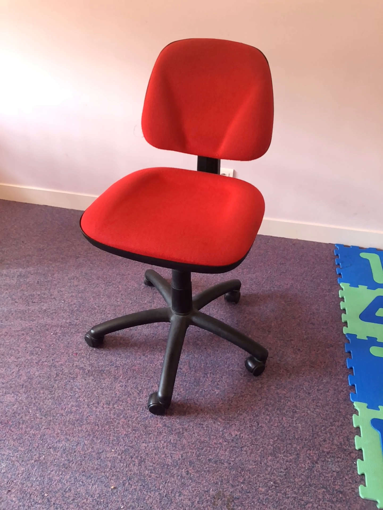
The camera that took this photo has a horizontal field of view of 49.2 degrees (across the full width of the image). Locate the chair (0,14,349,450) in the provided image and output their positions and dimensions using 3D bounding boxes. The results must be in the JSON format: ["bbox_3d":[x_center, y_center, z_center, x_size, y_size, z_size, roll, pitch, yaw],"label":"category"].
[{"bbox_3d":[-0.013,-0.098,1.176,0.640,0.894,0.675,13,38,14],"label":"chair"}]
